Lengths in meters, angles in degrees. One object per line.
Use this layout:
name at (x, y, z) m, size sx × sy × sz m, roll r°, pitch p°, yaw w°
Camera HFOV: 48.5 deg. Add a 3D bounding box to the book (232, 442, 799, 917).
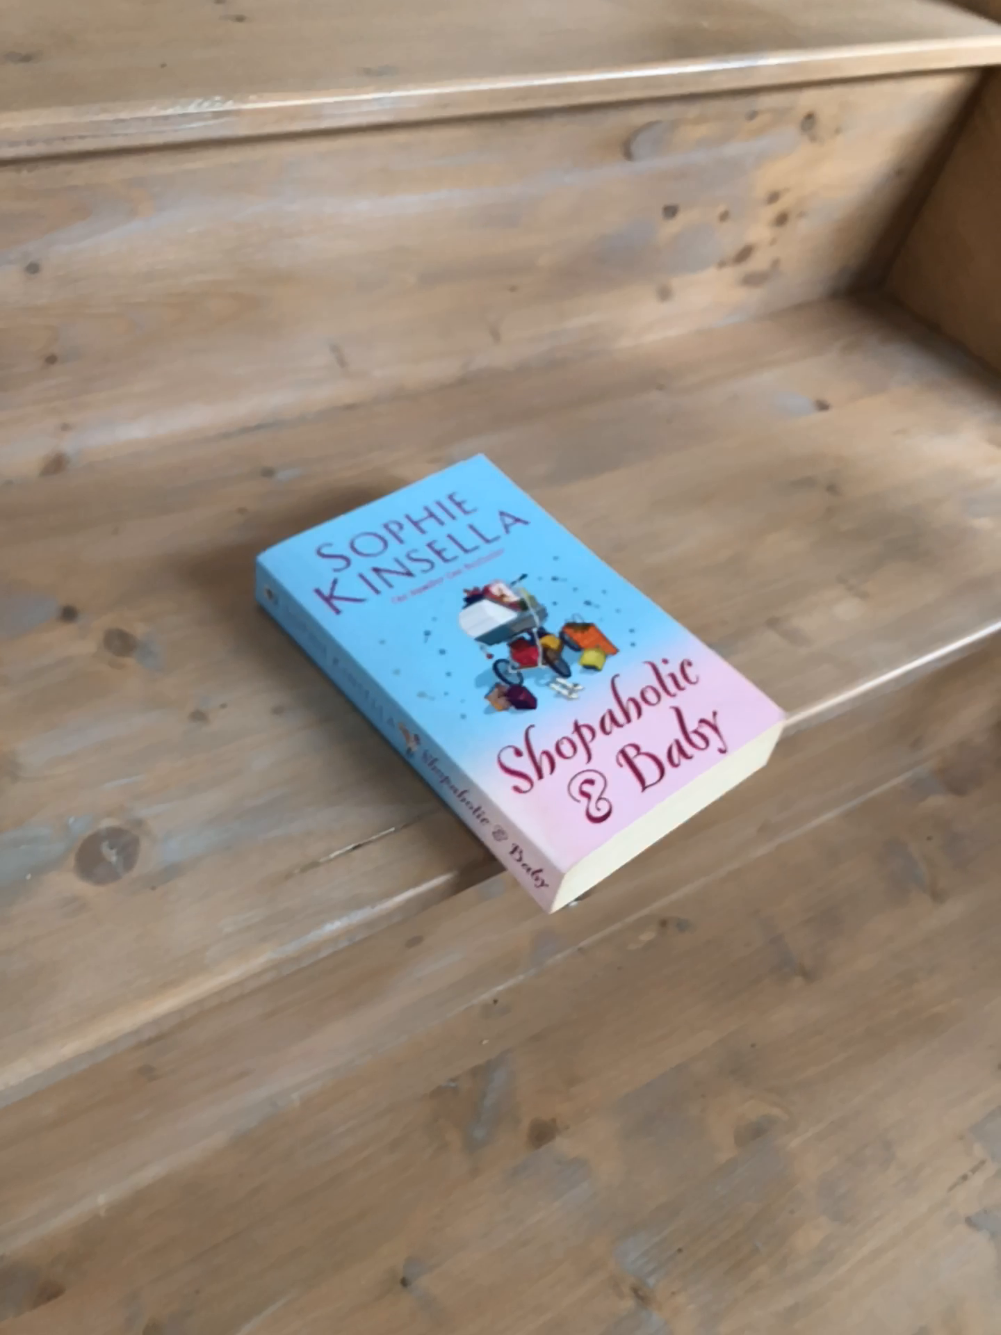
book at (0.001, -0.010, 0.474) m, size 0.131 × 0.031 × 0.211 m, roll -29°, pitch 57°, yaw -31°
